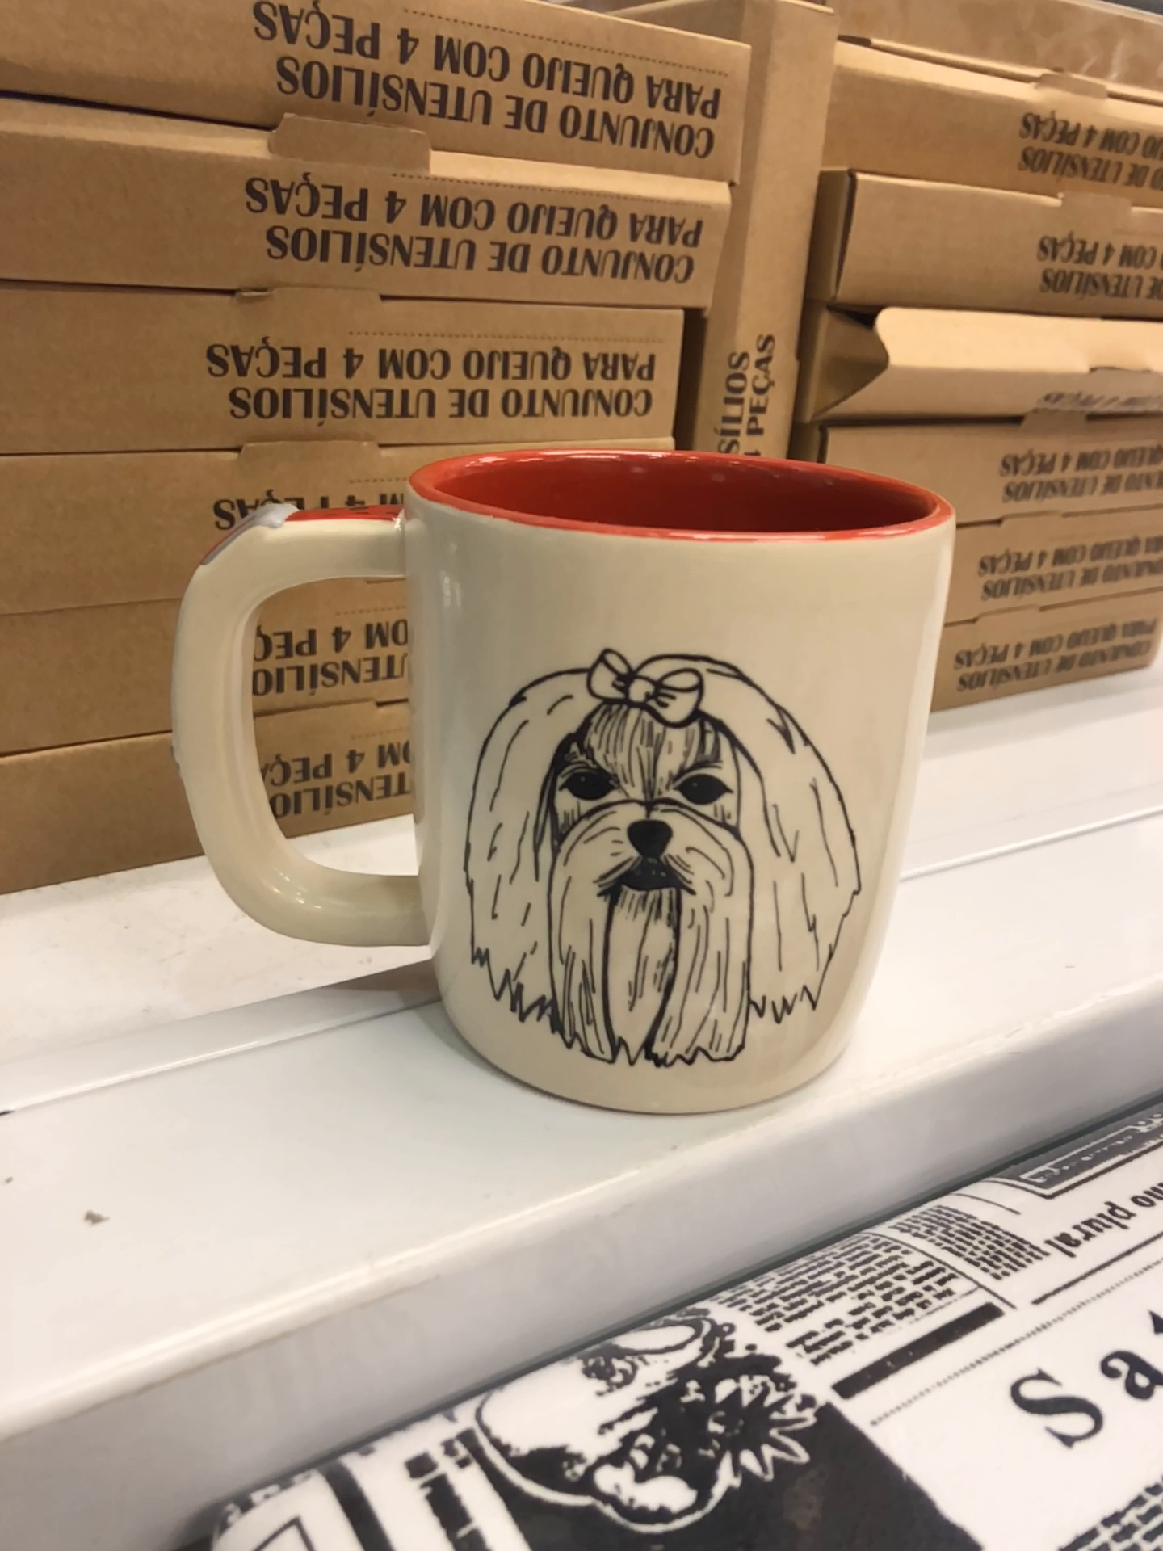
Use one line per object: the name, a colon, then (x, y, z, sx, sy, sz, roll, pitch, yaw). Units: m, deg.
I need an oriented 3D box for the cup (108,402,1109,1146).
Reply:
cup: (-0.001, -0.008, 0.211, 0.120, 0.089, 0.091, 0, 21, -7)
